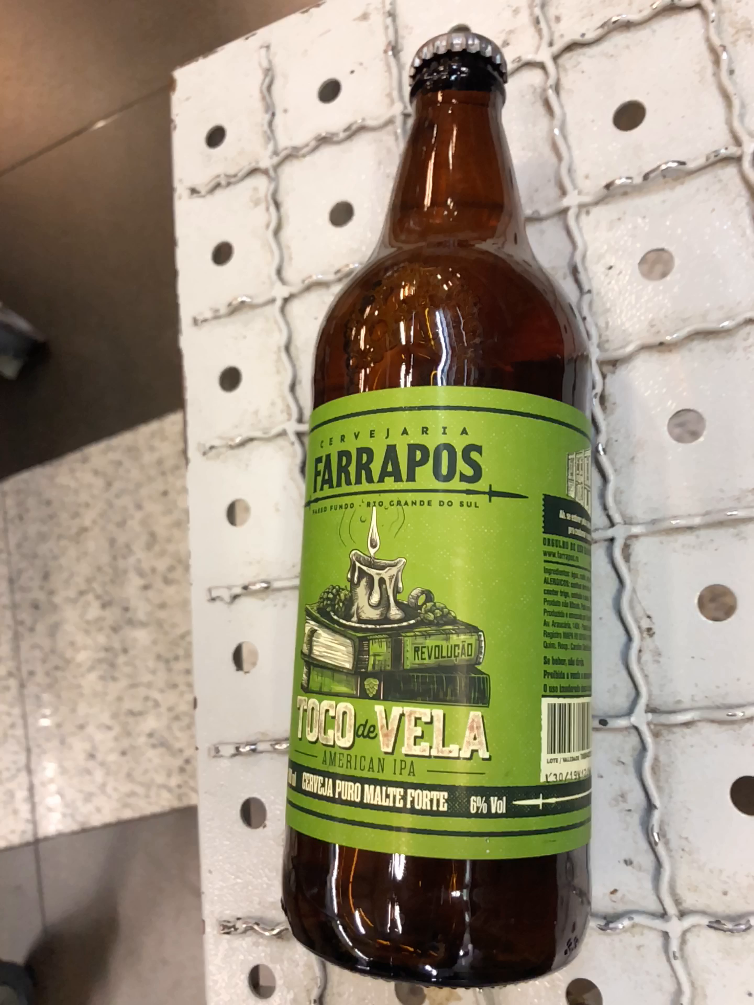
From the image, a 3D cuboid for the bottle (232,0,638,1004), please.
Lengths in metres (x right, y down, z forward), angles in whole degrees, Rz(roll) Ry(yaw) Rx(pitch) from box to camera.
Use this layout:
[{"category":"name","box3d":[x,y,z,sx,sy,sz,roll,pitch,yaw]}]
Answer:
[{"category":"bottle","box3d":[0.023,-0.027,0.223,0.080,0.070,0.260,-1,81,21]}]
